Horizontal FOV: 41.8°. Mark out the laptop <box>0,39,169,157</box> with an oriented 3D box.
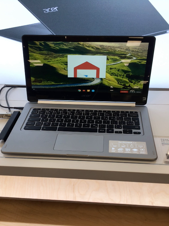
[{"bbox_3d":[-0.003,-0.052,0.556,0.357,0.189,0.275,2,40,5],"label":"laptop"}]
